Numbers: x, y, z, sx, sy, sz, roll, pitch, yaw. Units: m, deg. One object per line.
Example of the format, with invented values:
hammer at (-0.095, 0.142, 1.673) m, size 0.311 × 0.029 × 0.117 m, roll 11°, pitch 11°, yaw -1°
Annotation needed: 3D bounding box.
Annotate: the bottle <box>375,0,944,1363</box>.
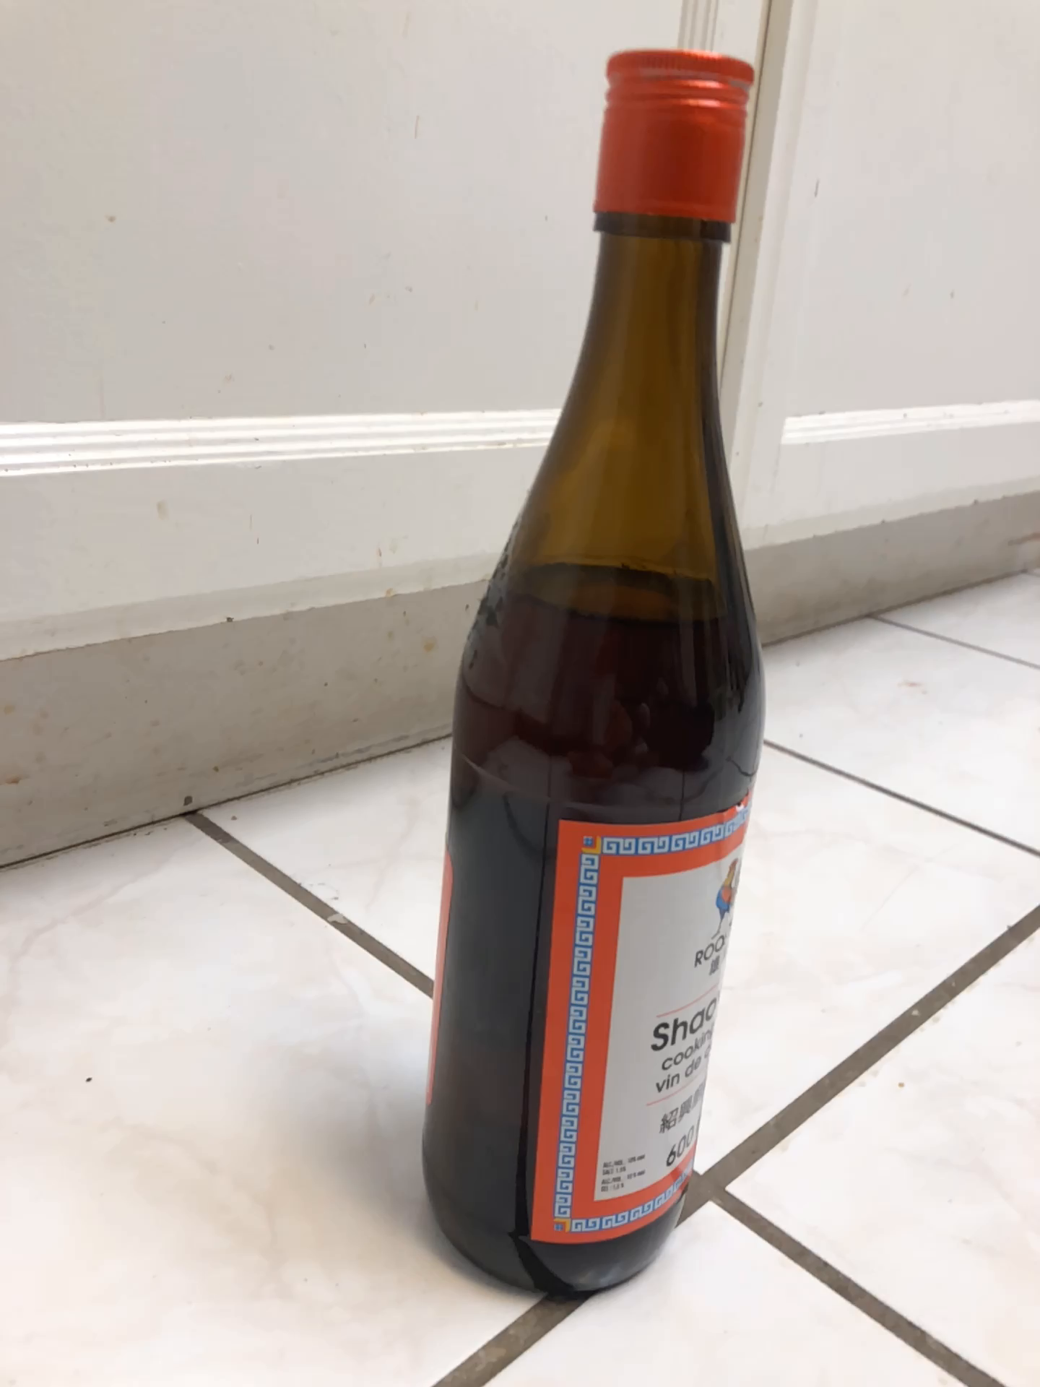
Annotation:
bottle at (0.026, 0.006, 0.268) m, size 0.070 × 0.278 × 0.080 m, roll 15°, pitch 22°, yaw 24°
